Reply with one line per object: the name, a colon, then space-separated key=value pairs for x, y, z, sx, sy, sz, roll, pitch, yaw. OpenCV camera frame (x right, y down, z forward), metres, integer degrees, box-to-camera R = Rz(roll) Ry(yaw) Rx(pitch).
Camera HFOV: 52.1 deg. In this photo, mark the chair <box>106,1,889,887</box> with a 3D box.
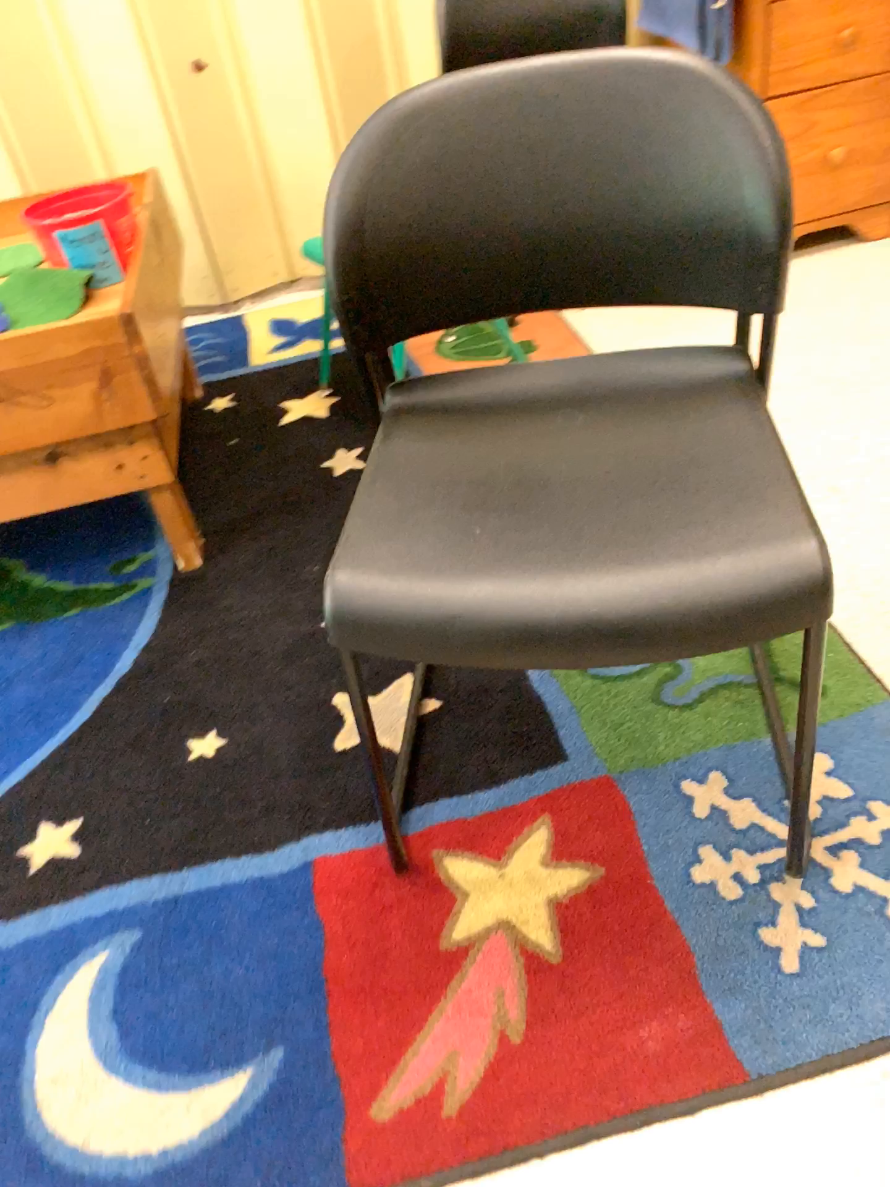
chair: x=0.139 y=-0.153 z=1.070 sx=0.590 sy=0.775 sz=0.613 roll=-3 pitch=38 yaw=10
